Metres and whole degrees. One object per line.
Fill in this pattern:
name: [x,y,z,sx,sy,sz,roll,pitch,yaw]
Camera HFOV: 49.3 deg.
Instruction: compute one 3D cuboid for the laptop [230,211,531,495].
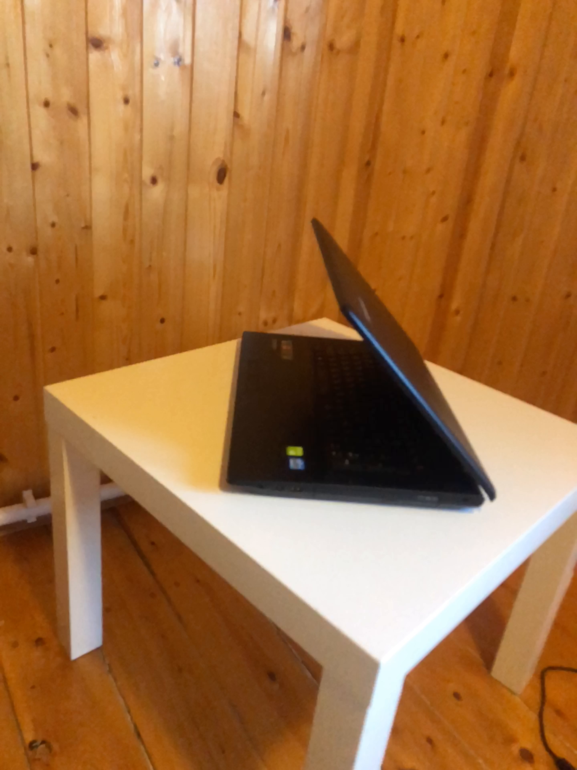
laptop: [0.077,-0.068,0.771,0.260,0.179,0.391,5,27,-4]
